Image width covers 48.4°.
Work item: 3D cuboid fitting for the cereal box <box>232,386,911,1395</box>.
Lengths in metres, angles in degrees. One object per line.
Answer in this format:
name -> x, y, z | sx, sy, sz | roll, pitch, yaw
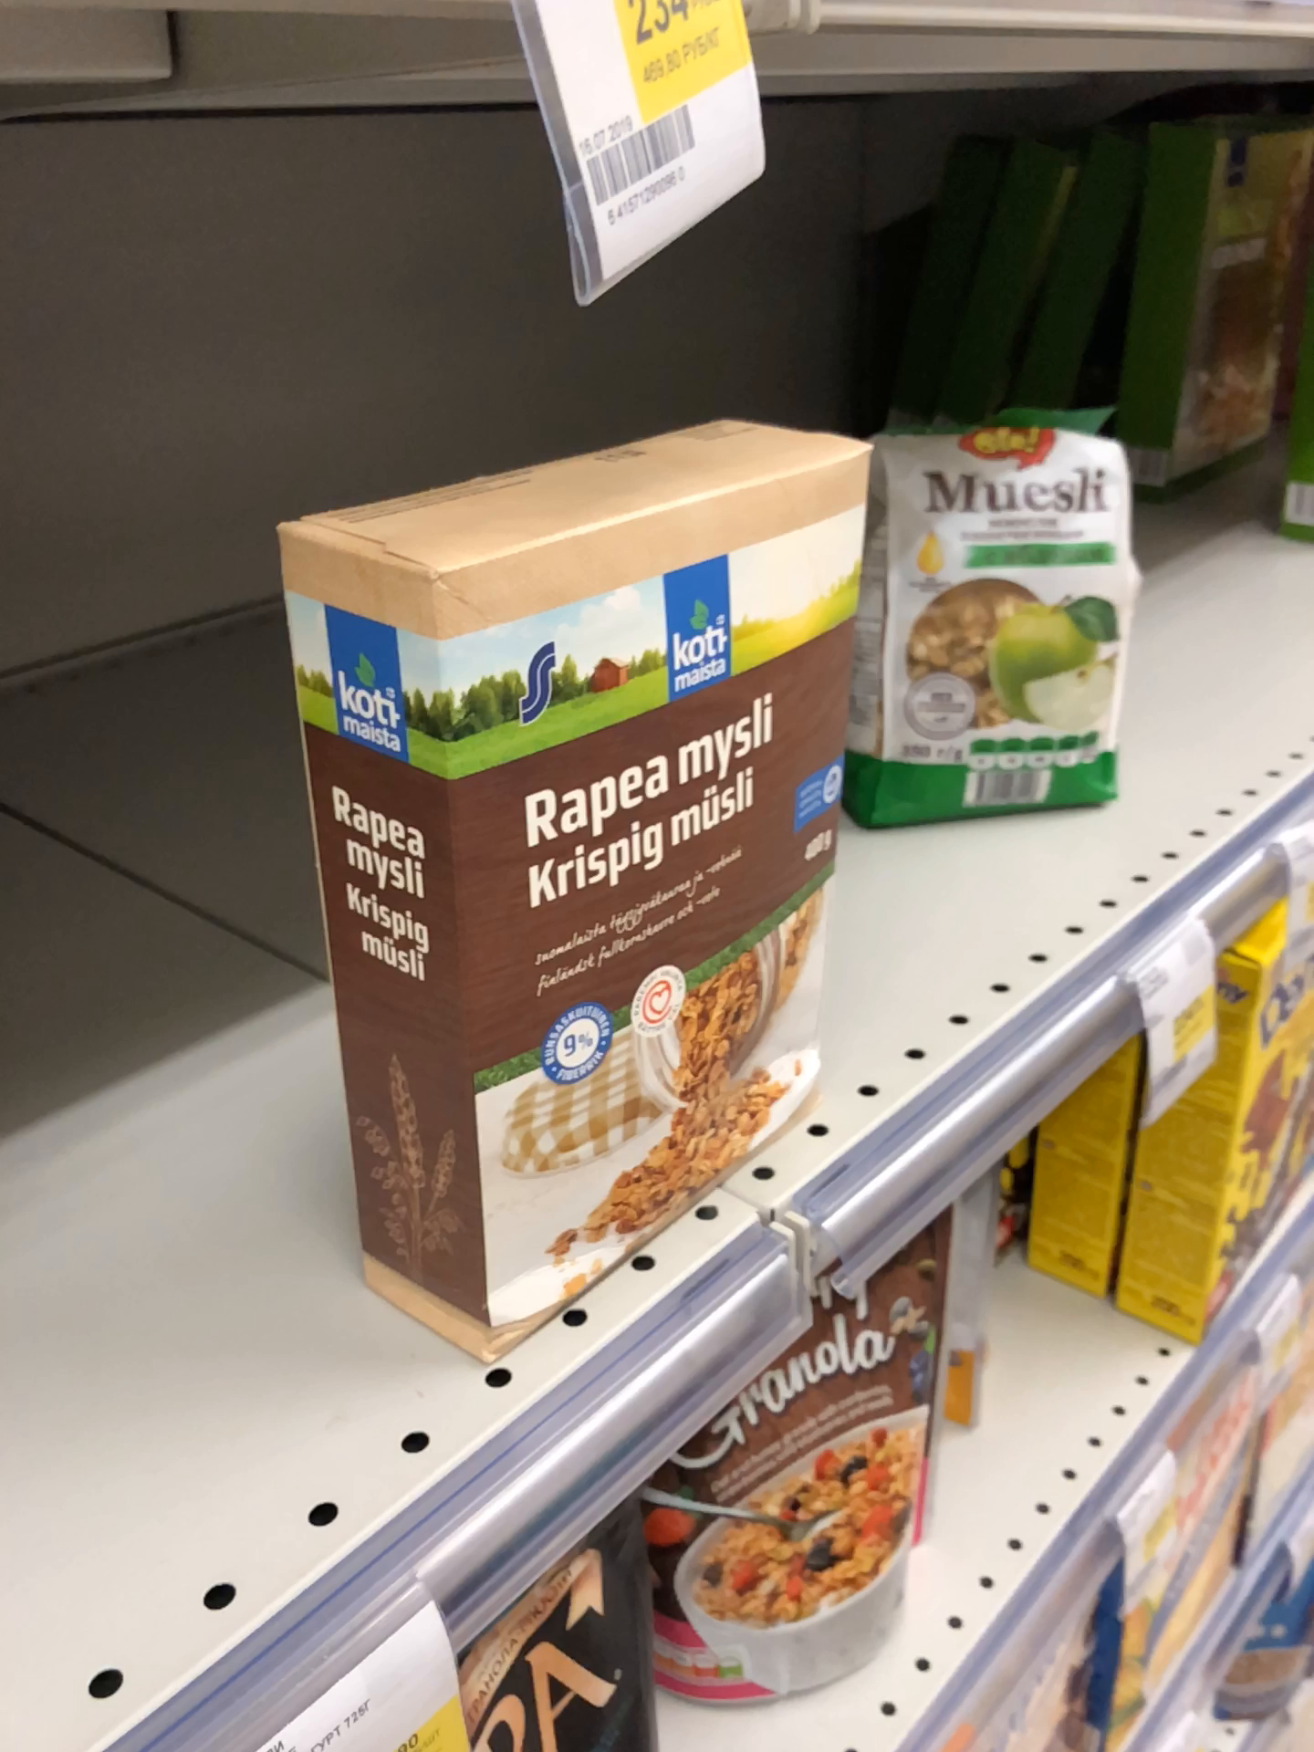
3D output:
cereal box -> -0.008, -0.004, 0.344 | 0.050, 0.189, 0.151 | 21, 35, 35
